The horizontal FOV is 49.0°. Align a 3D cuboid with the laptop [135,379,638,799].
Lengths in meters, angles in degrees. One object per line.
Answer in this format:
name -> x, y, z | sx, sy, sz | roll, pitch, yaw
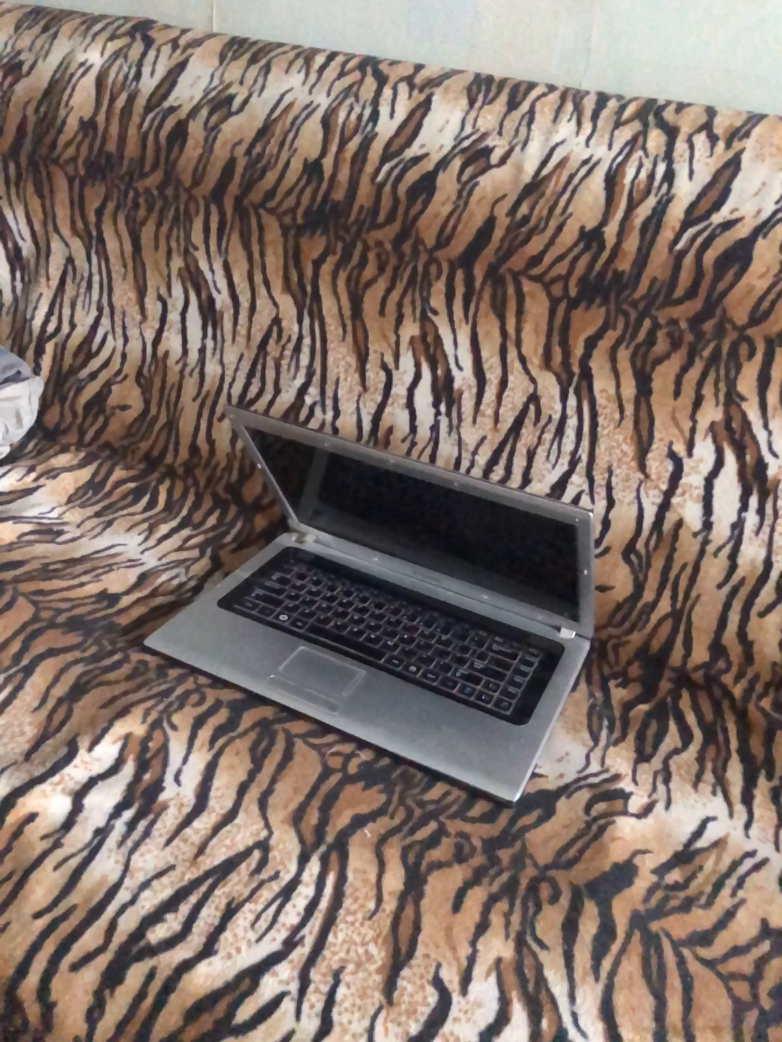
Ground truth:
laptop -> -0.004, 0.032, 0.754 | 0.351, 0.179, 0.239 | 18, 31, 20
